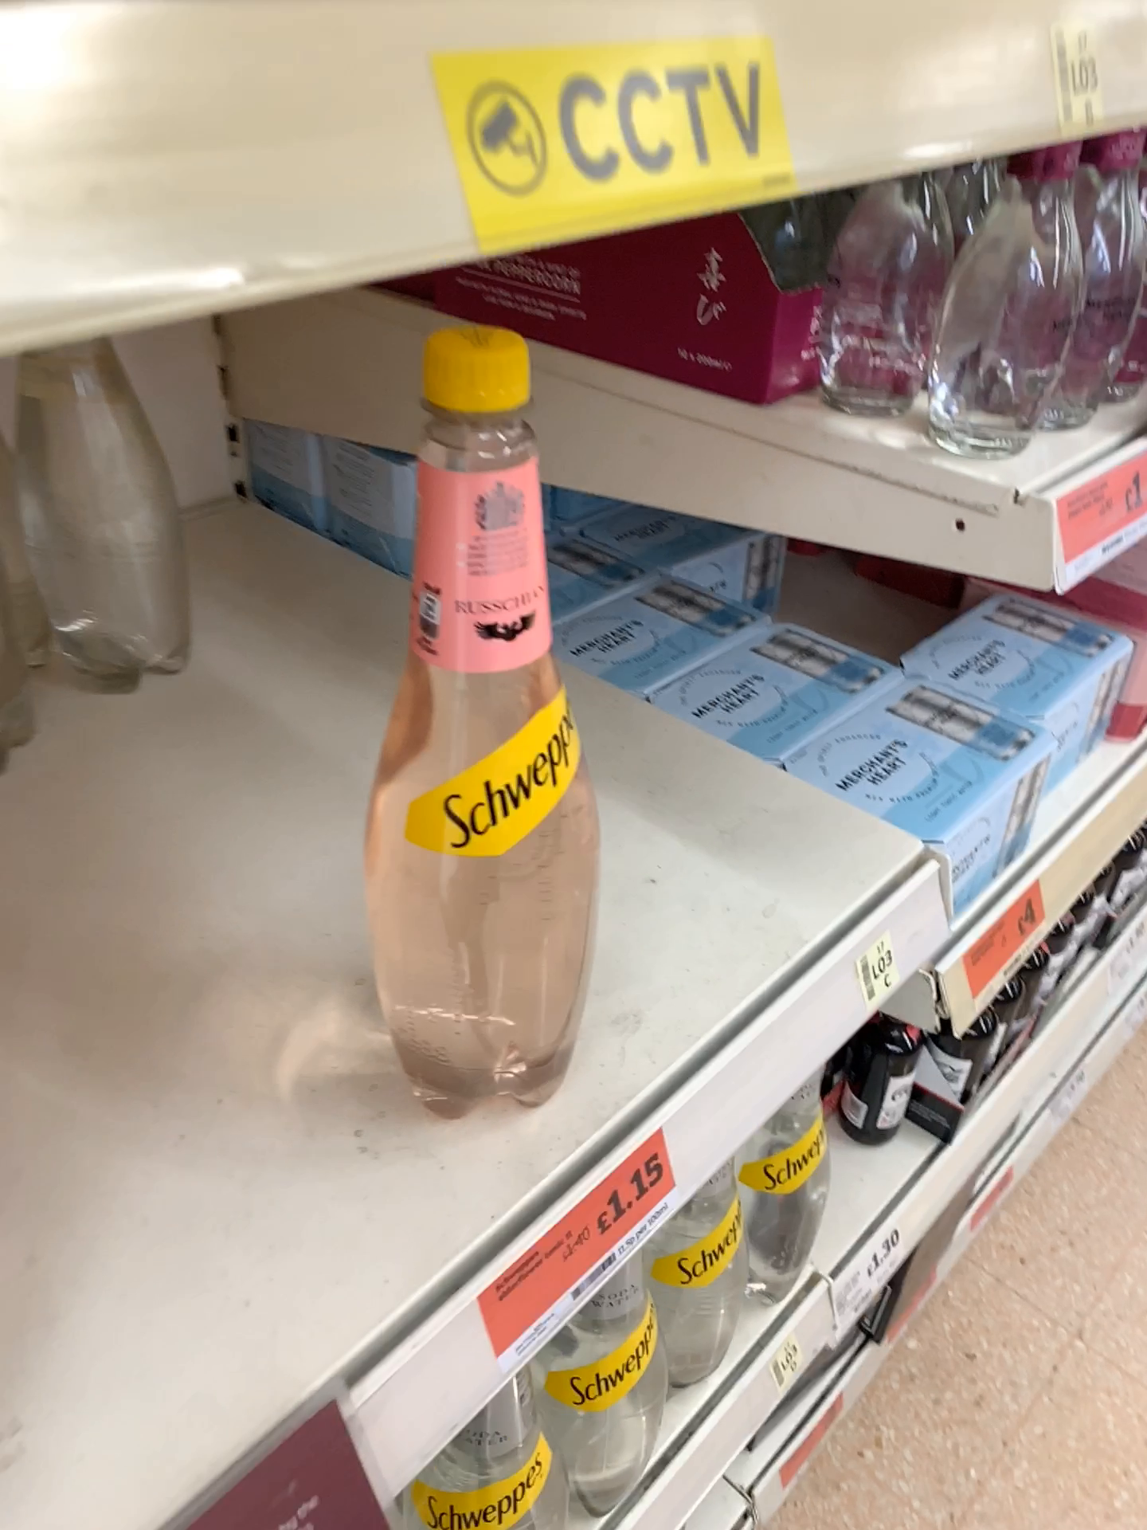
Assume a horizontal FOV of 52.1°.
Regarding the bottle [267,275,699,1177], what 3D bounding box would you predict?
[{"bbox_3d":[-0.032,0.000,0.414,0.085,0.299,0.090,2,35,-1],"label":"bottle"}]
